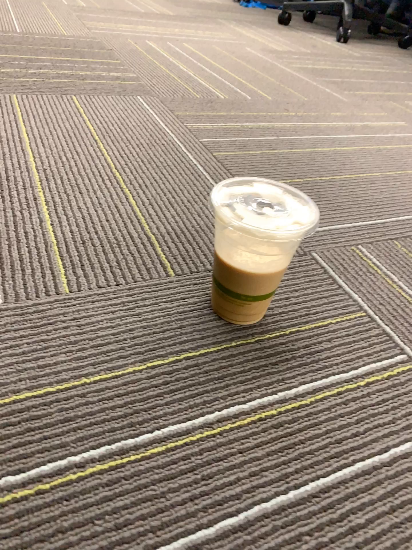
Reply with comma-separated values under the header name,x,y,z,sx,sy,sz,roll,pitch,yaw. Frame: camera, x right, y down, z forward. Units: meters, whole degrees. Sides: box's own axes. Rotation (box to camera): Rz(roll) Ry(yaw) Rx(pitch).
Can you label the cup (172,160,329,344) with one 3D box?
name,x,y,z,sx,sy,sz,roll,pitch,yaw
cup,0.040,-0.025,0.394,0.100,0.109,0.100,6,38,-5
